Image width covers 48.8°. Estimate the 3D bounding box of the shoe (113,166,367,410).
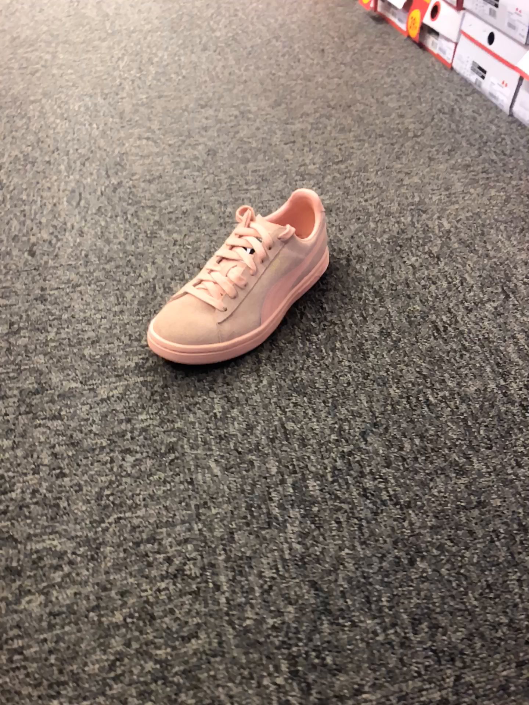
[{"bbox_3d":[-0.013,-0.074,0.587,0.092,0.090,0.254,33,61,29],"label":"shoe"}]
